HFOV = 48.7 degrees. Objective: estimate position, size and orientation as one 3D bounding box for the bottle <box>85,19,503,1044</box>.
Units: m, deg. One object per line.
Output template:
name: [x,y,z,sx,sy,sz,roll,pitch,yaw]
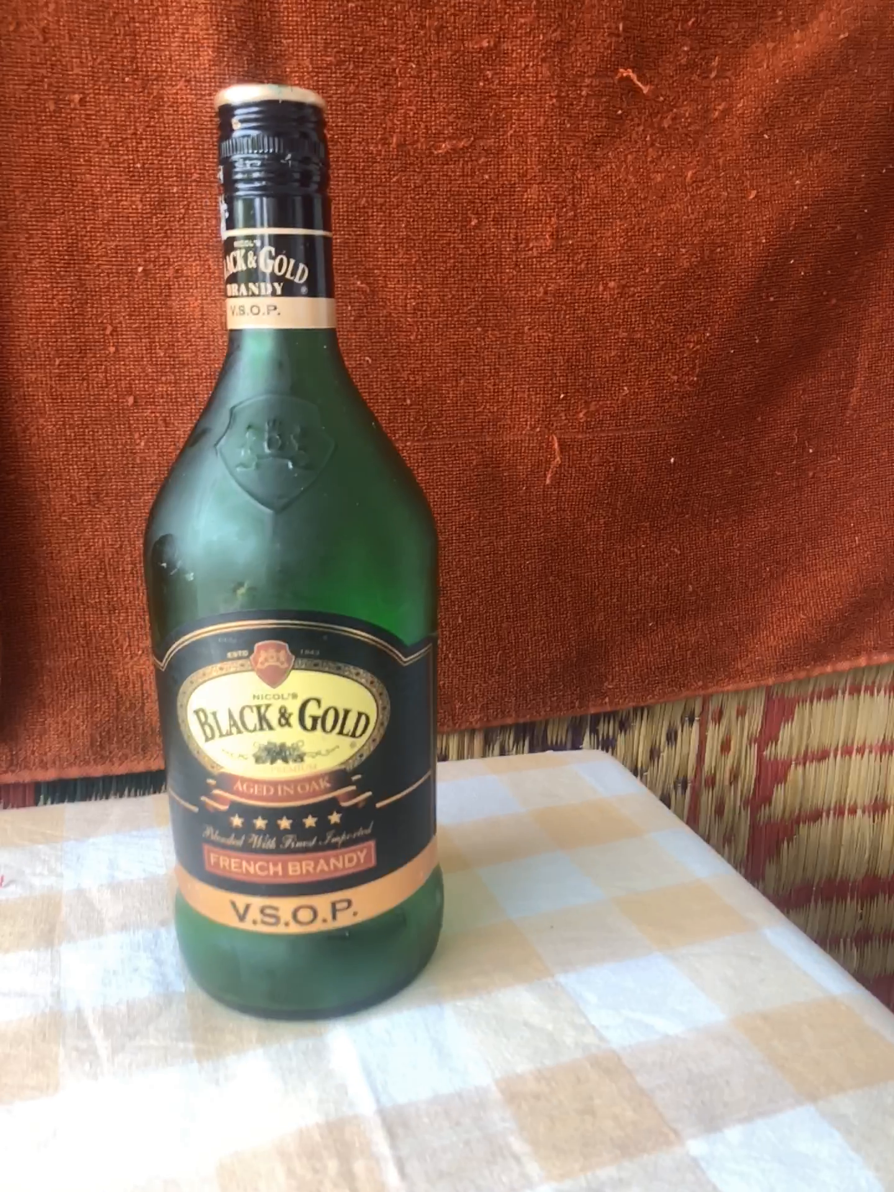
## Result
bottle: [-0.037,-0.009,0.286,0.090,0.259,0.080,1,15,-1]
